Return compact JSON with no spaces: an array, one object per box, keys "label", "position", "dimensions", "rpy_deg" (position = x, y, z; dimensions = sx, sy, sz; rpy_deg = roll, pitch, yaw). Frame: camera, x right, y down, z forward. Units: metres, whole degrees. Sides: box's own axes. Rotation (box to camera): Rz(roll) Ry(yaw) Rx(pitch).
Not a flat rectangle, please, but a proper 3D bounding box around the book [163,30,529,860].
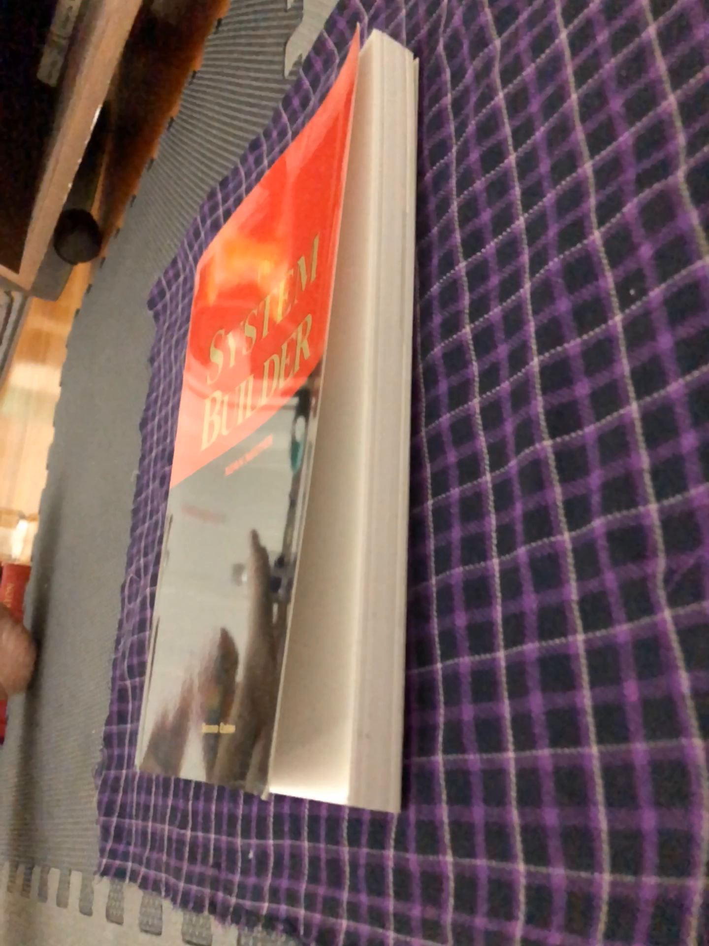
[{"label":"book","position":[-0.014,-0.002,0.318],"dimensions":[0.201,0.030,0.260],"rpy_deg":[-27,55,55]}]
